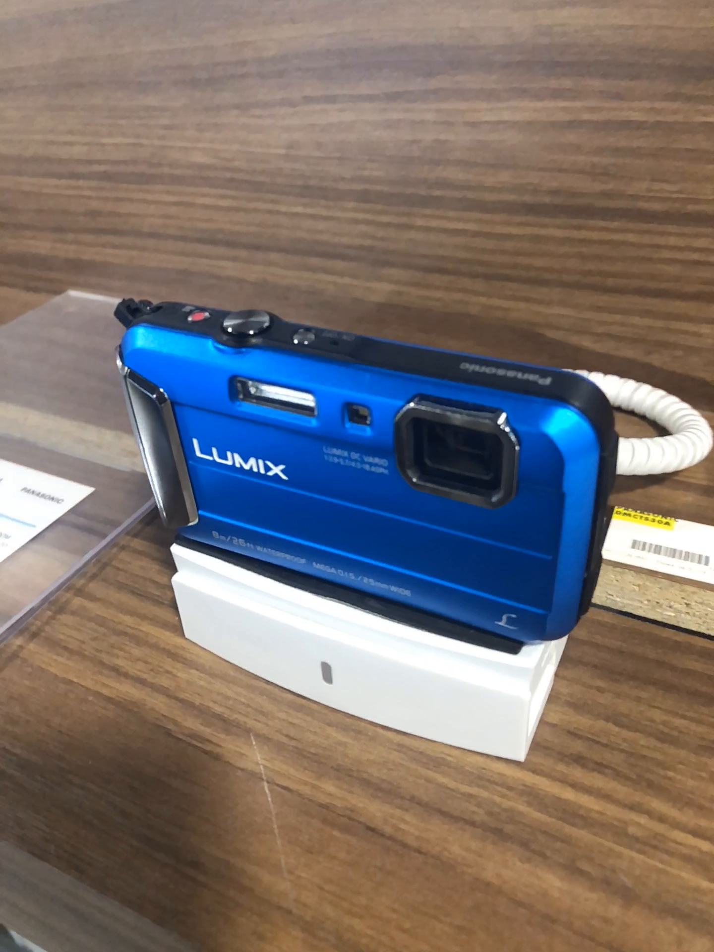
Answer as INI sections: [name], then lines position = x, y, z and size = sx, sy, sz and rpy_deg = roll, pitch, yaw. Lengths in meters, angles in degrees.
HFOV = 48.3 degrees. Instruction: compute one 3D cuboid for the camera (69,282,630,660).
[camera]
position = -0.003, -0.004, 0.158
size = 0.101, 0.051, 0.023
rpy_deg = 13, 42, 23
